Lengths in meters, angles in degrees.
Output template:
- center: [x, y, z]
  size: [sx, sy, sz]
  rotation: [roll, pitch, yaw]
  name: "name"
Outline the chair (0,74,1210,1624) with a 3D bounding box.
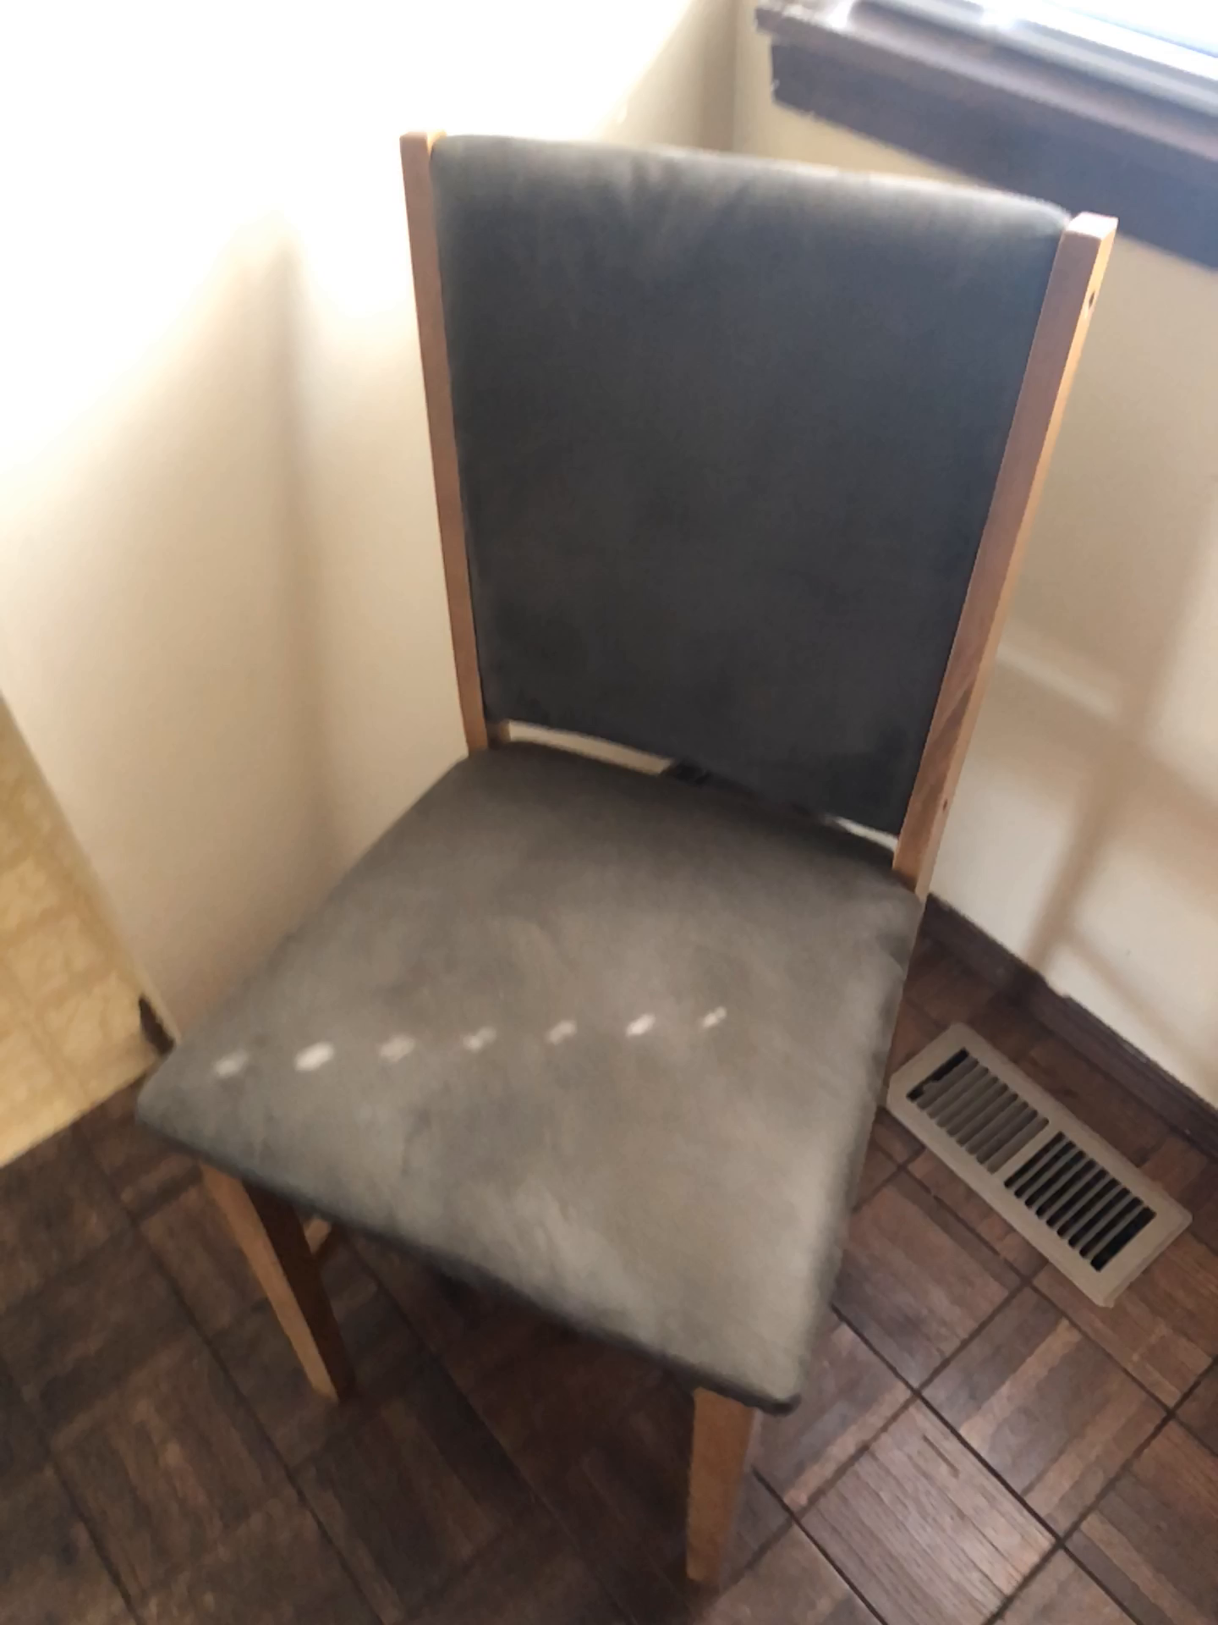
- center: [-0.006, 0.070, 0.914]
  size: [0.490, 0.859, 0.511]
  rotation: [17, 48, 18]
  name: "chair"
